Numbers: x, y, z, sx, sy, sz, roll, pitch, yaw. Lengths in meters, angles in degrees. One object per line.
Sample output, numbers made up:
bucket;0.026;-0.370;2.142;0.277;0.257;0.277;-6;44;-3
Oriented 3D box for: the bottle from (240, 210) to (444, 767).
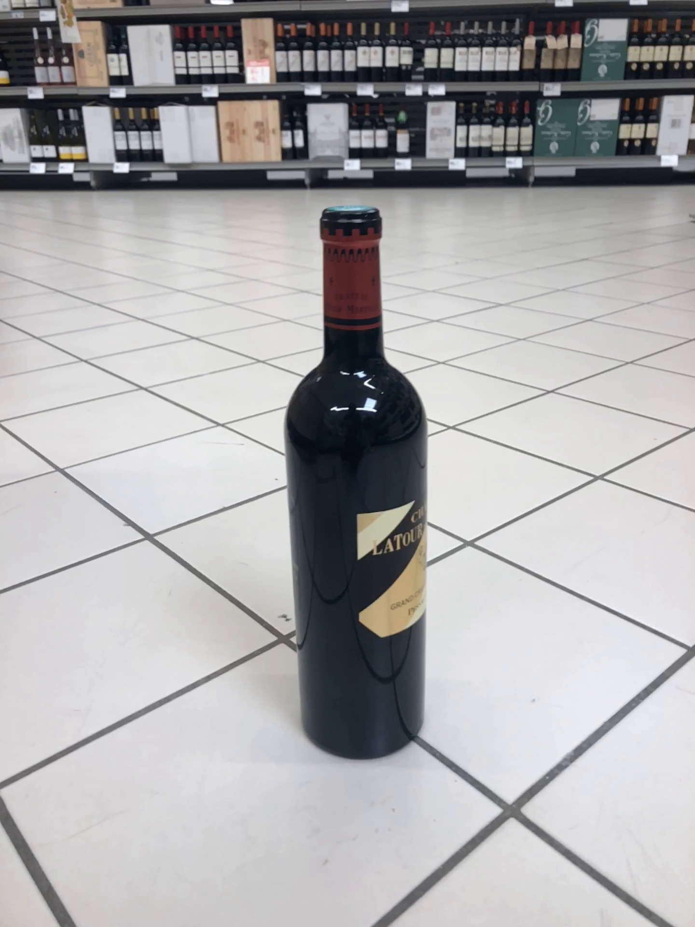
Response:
bottle;0.004;0.017;0.401;0.080;0.279;0.080;-1;22;0
